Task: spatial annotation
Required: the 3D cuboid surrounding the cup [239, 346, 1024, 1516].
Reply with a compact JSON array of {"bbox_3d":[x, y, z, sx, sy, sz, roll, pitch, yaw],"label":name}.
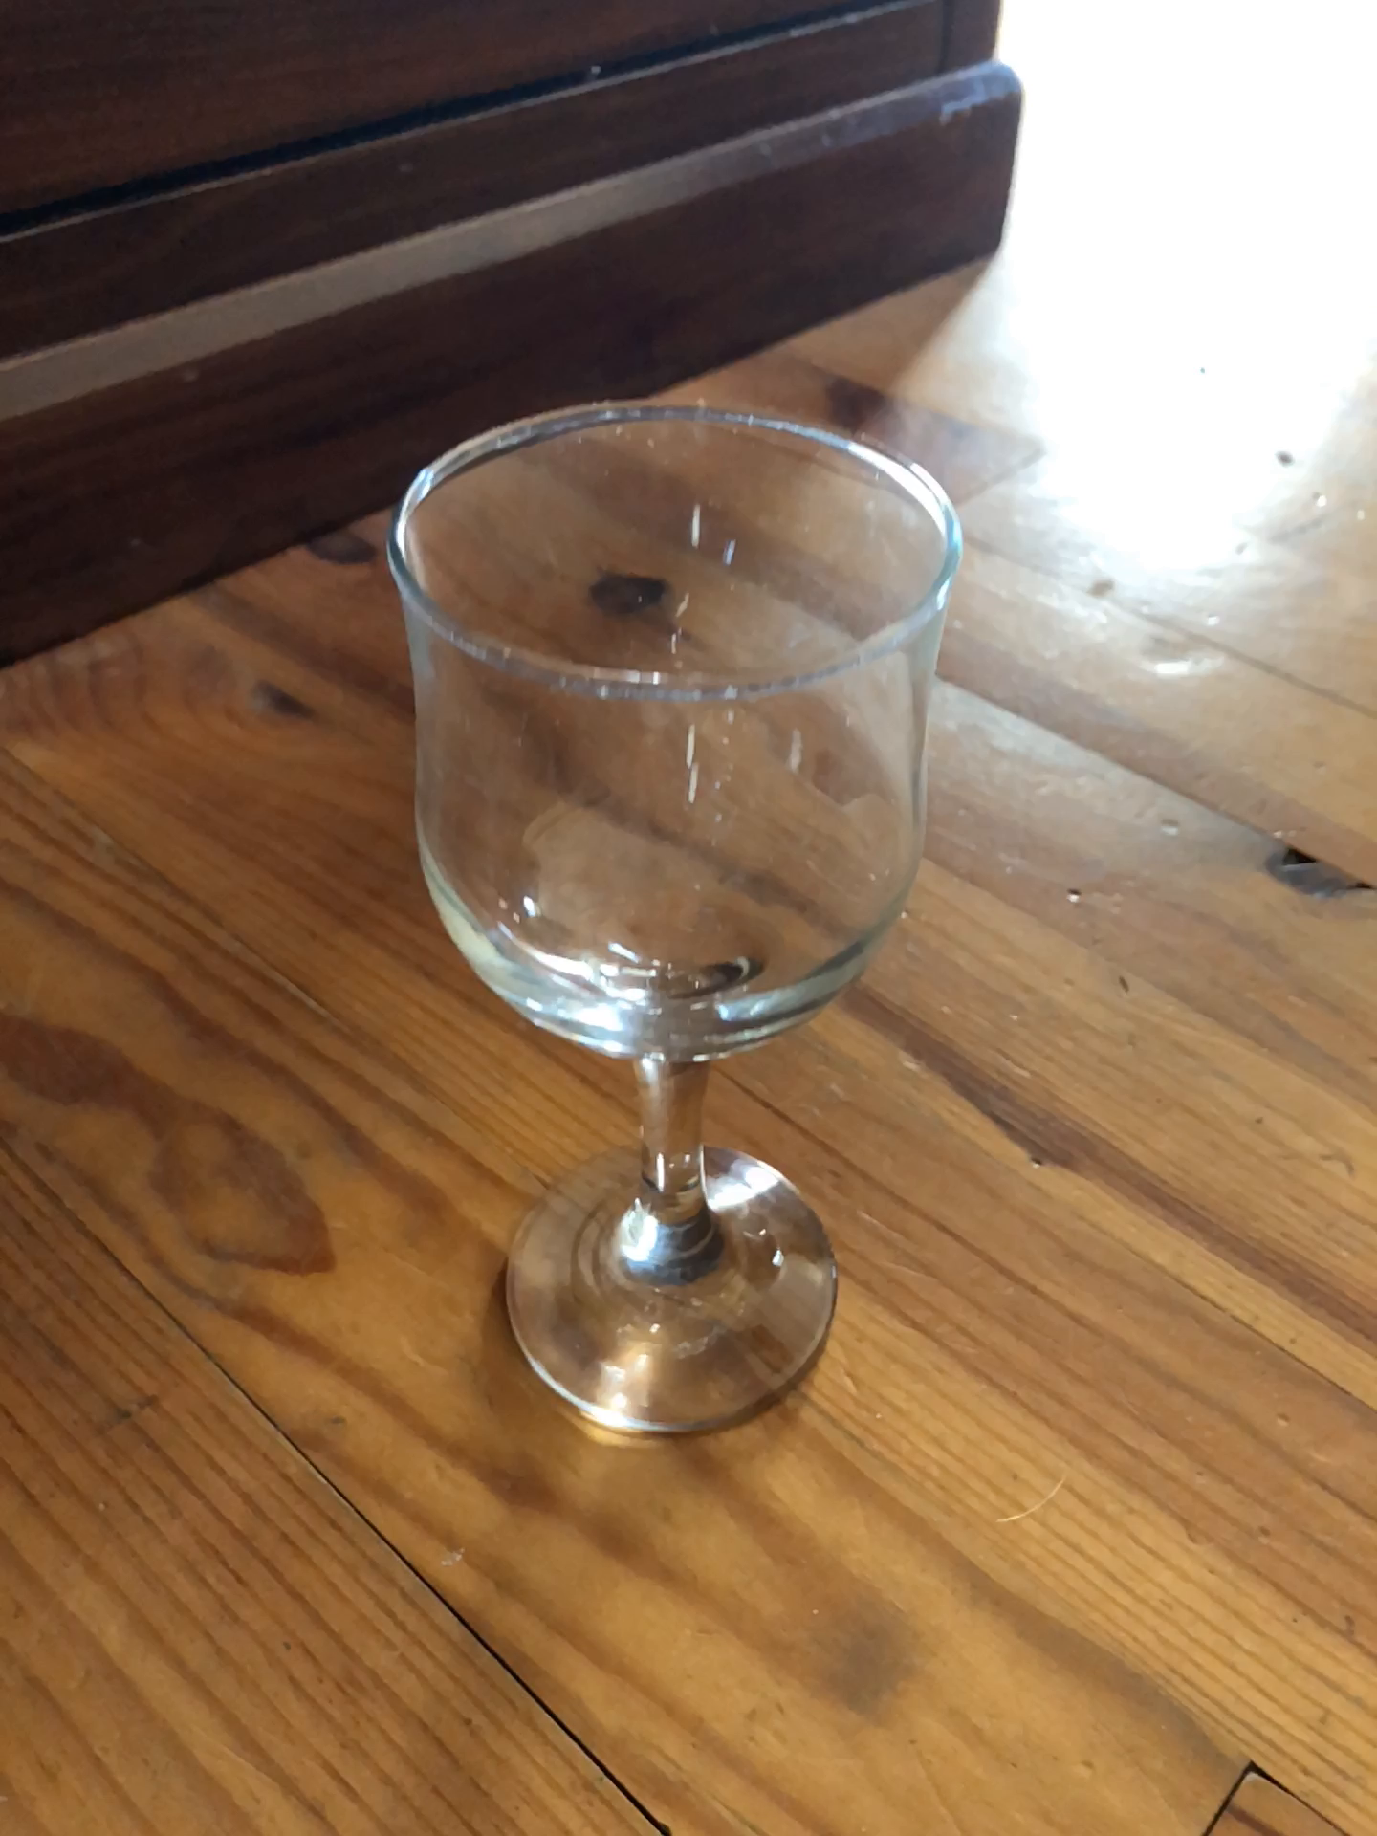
[{"bbox_3d":[-0.002,0.009,0.239,0.076,0.156,0.083,1,42,-1],"label":"cup"}]
